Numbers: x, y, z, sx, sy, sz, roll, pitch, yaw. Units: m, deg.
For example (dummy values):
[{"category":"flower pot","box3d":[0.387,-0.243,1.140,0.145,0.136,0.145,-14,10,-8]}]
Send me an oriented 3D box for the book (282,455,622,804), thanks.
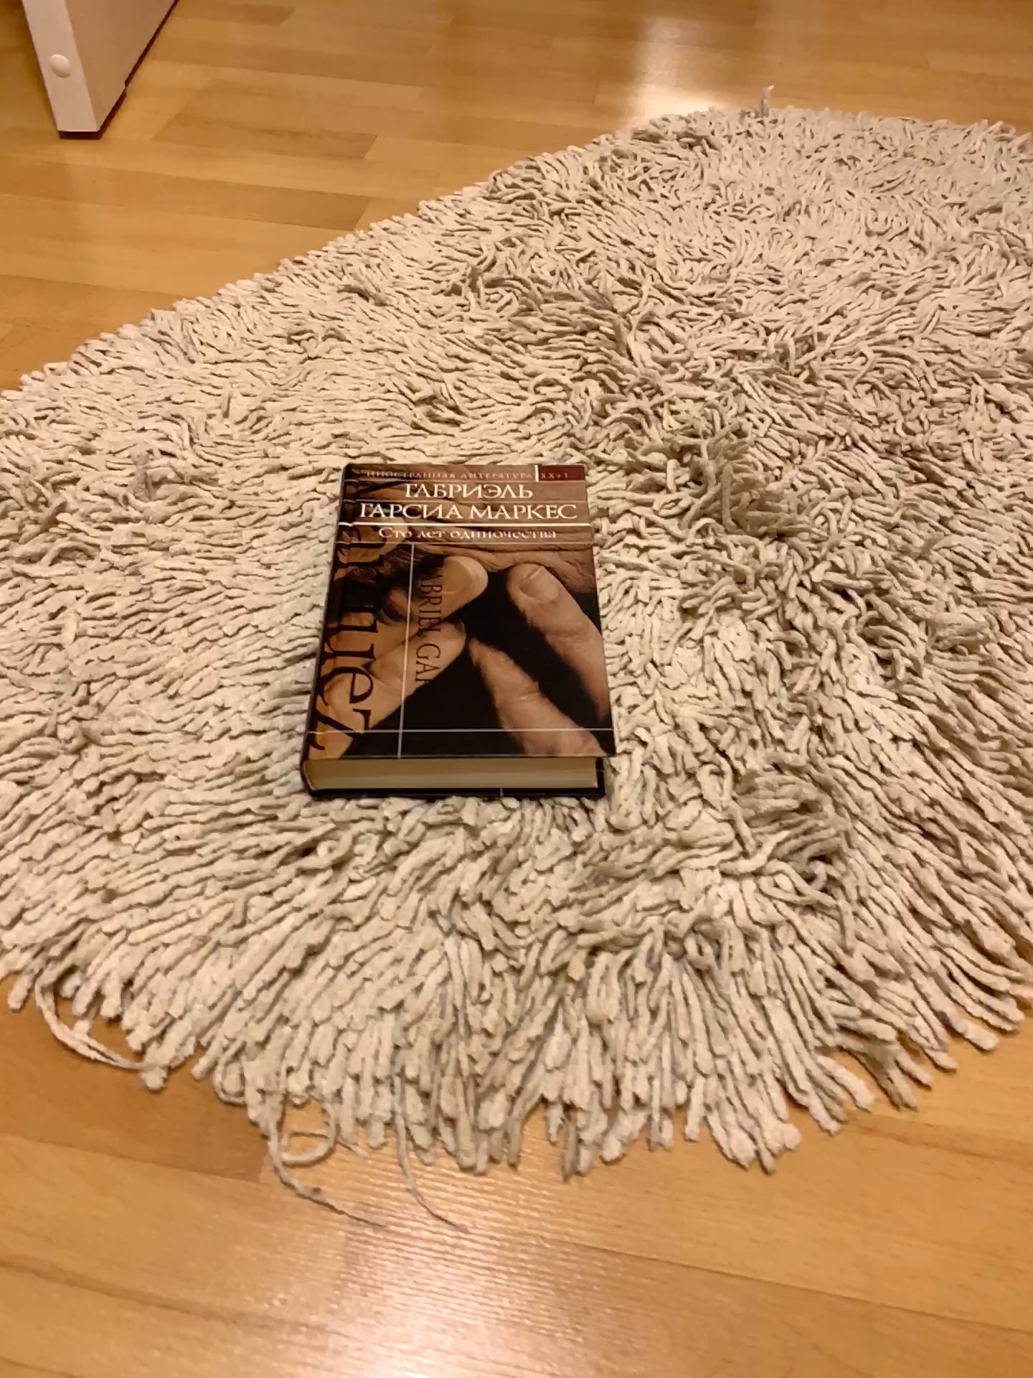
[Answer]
[{"category":"book","box3d":[-0.029,-0.039,0.517,0.140,0.030,0.212,0,48,-2]}]
